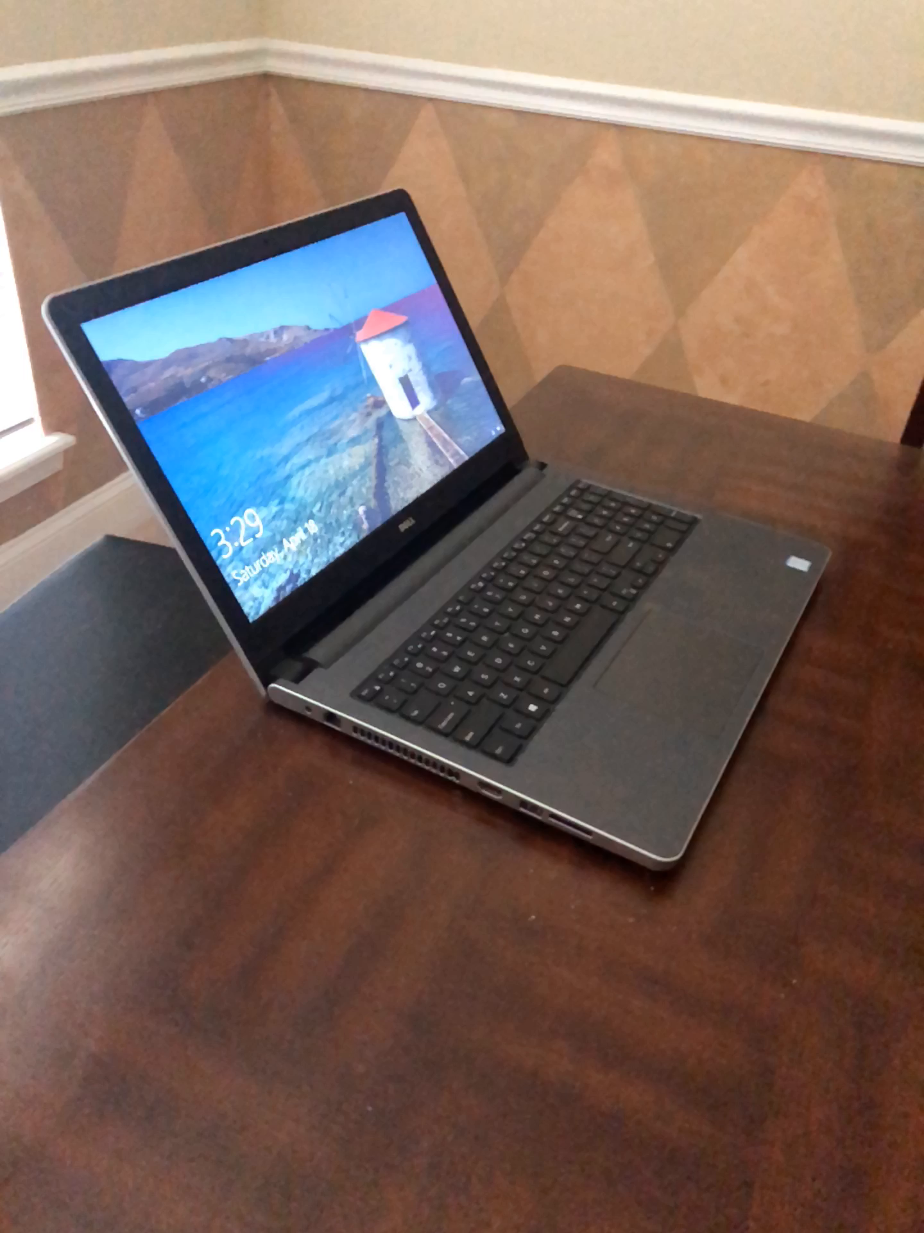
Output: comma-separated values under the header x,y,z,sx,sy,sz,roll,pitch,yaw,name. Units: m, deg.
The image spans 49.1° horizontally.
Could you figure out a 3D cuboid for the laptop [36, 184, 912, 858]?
x,y,z,sx,sy,sz,roll,pitch,yaw,name
0.031,-0.111,0.654,0.392,0.198,0.368,20,37,20,laptop
